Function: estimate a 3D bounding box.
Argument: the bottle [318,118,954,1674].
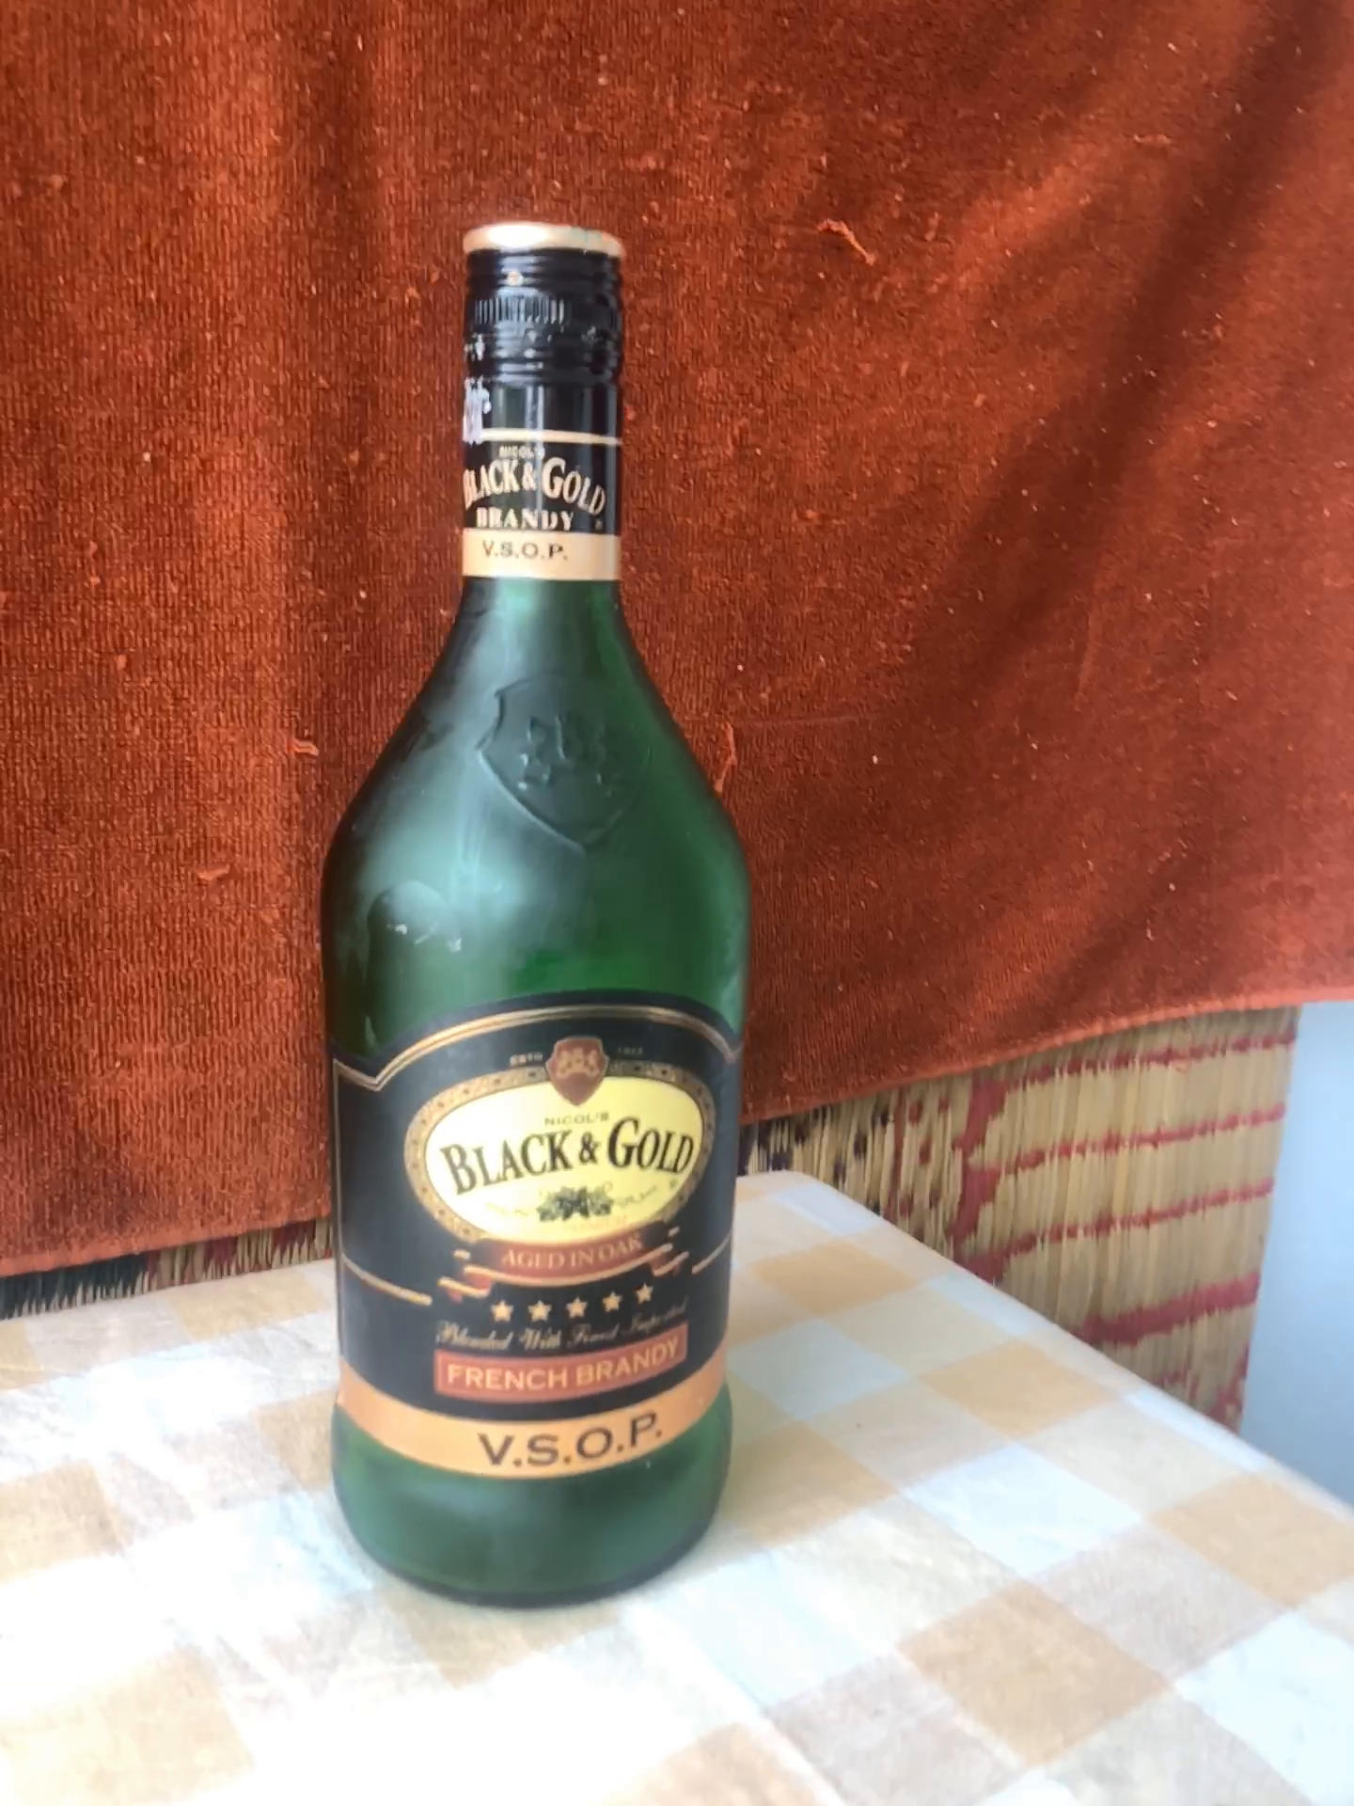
[{"bbox_3d":[-0.019,0.004,0.293,0.090,0.259,0.080,0,13,-17],"label":"bottle"}]
